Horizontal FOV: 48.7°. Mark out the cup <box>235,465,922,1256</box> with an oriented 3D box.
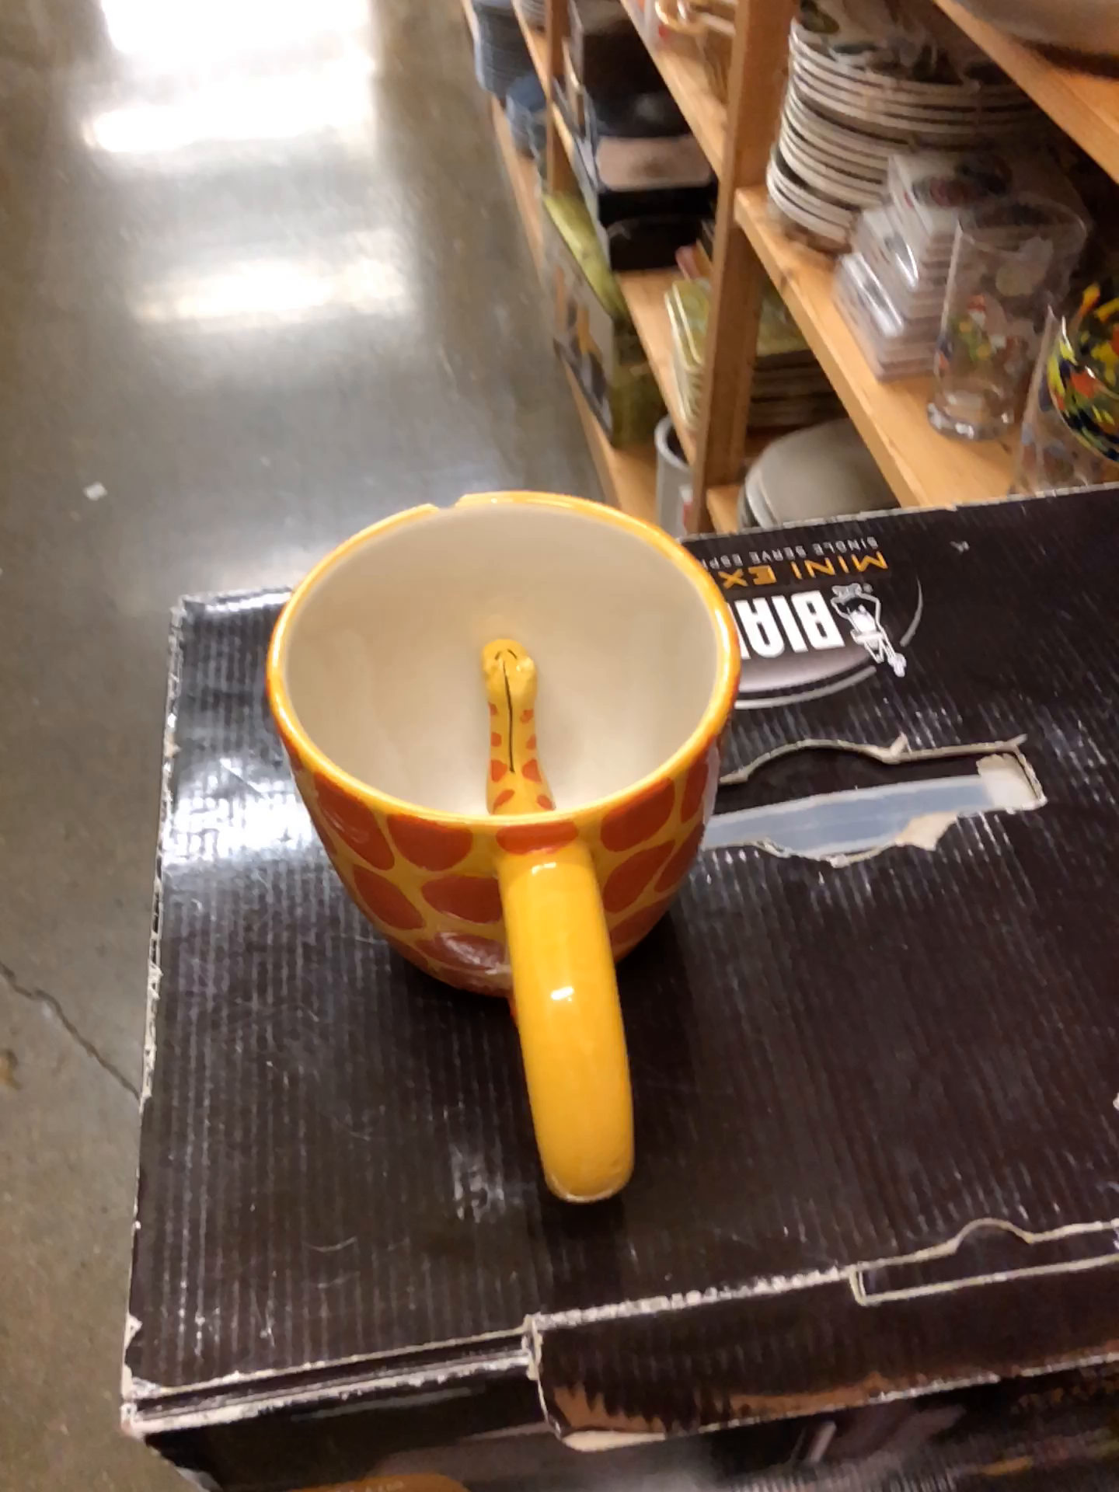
[{"bbox_3d":[-0.004,0.017,0.250,0.102,0.067,0.134,-7,51,-4],"label":"cup"}]
